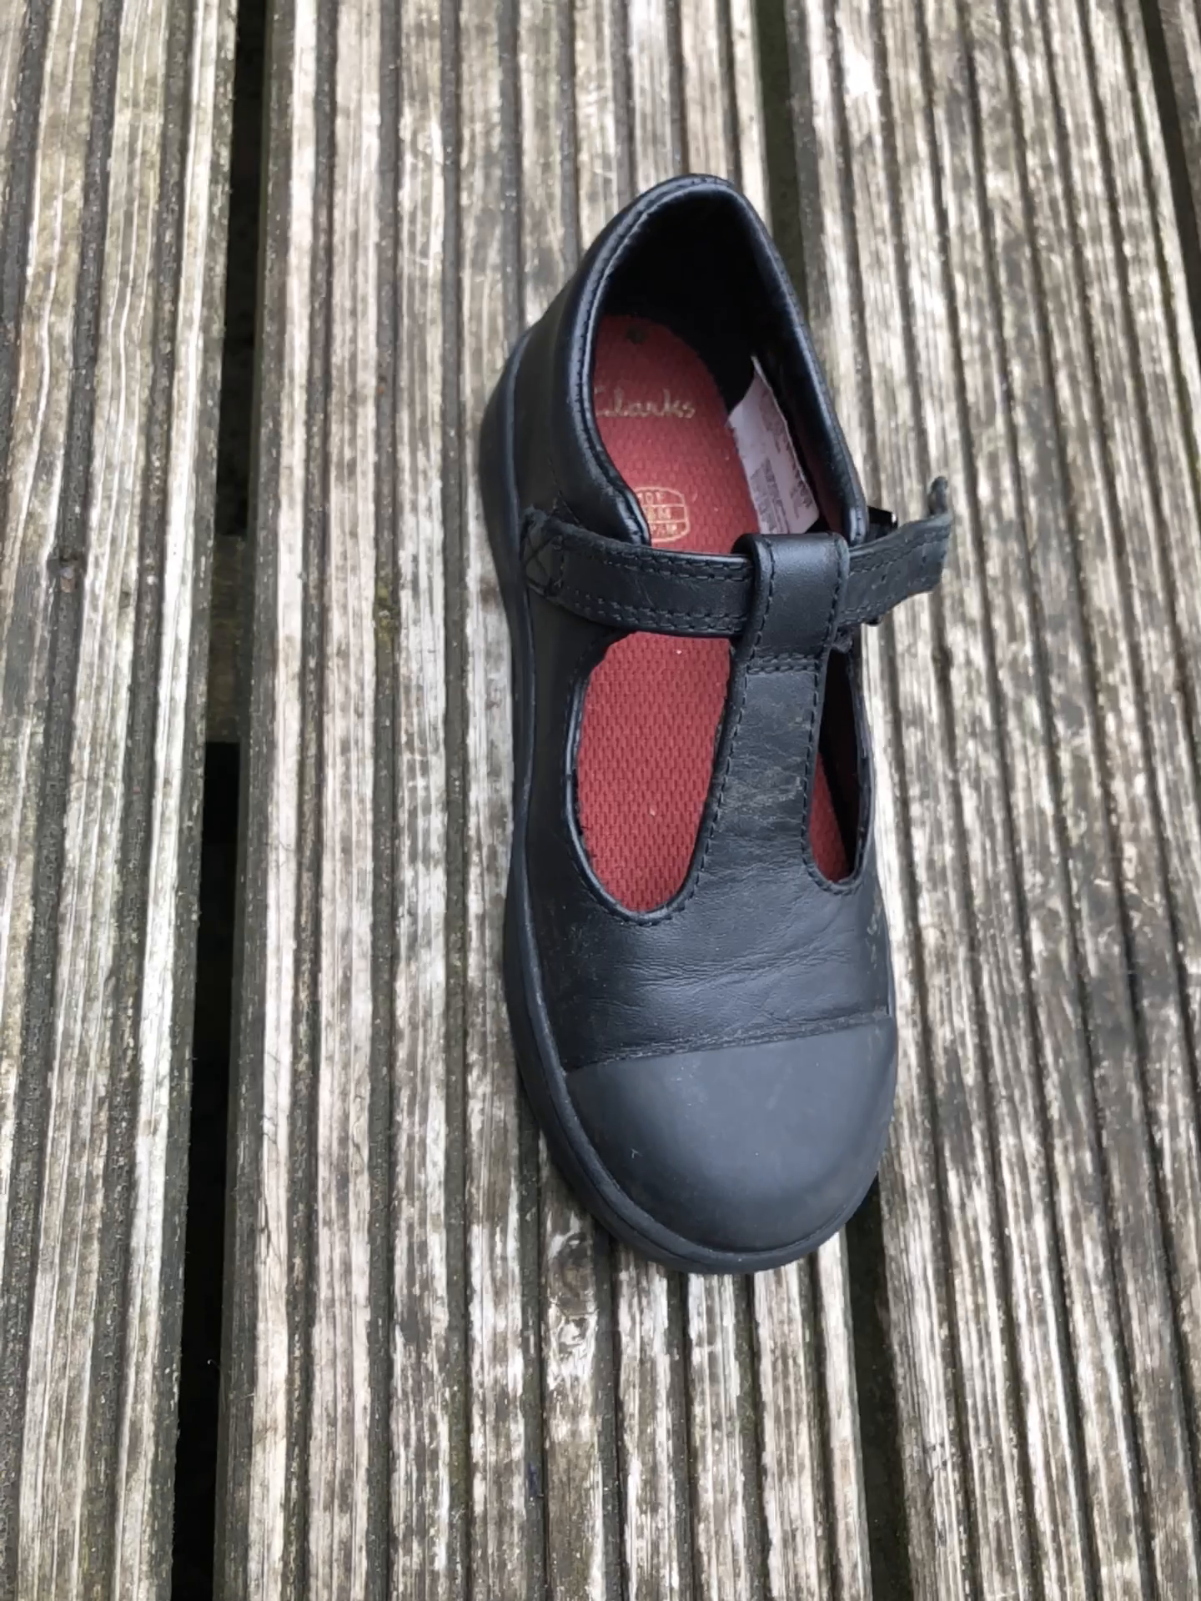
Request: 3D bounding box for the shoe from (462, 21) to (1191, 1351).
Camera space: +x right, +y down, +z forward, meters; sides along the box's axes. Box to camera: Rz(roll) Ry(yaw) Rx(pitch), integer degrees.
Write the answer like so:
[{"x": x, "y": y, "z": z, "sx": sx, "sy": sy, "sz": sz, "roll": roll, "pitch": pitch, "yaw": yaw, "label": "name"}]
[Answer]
[{"x": 0.028, "y": -0.017, "z": 0.235, "sx": 0.080, "sy": 0.080, "sz": 0.193, "roll": 1, "pitch": 76, "yaw": -20, "label": "shoe"}]
